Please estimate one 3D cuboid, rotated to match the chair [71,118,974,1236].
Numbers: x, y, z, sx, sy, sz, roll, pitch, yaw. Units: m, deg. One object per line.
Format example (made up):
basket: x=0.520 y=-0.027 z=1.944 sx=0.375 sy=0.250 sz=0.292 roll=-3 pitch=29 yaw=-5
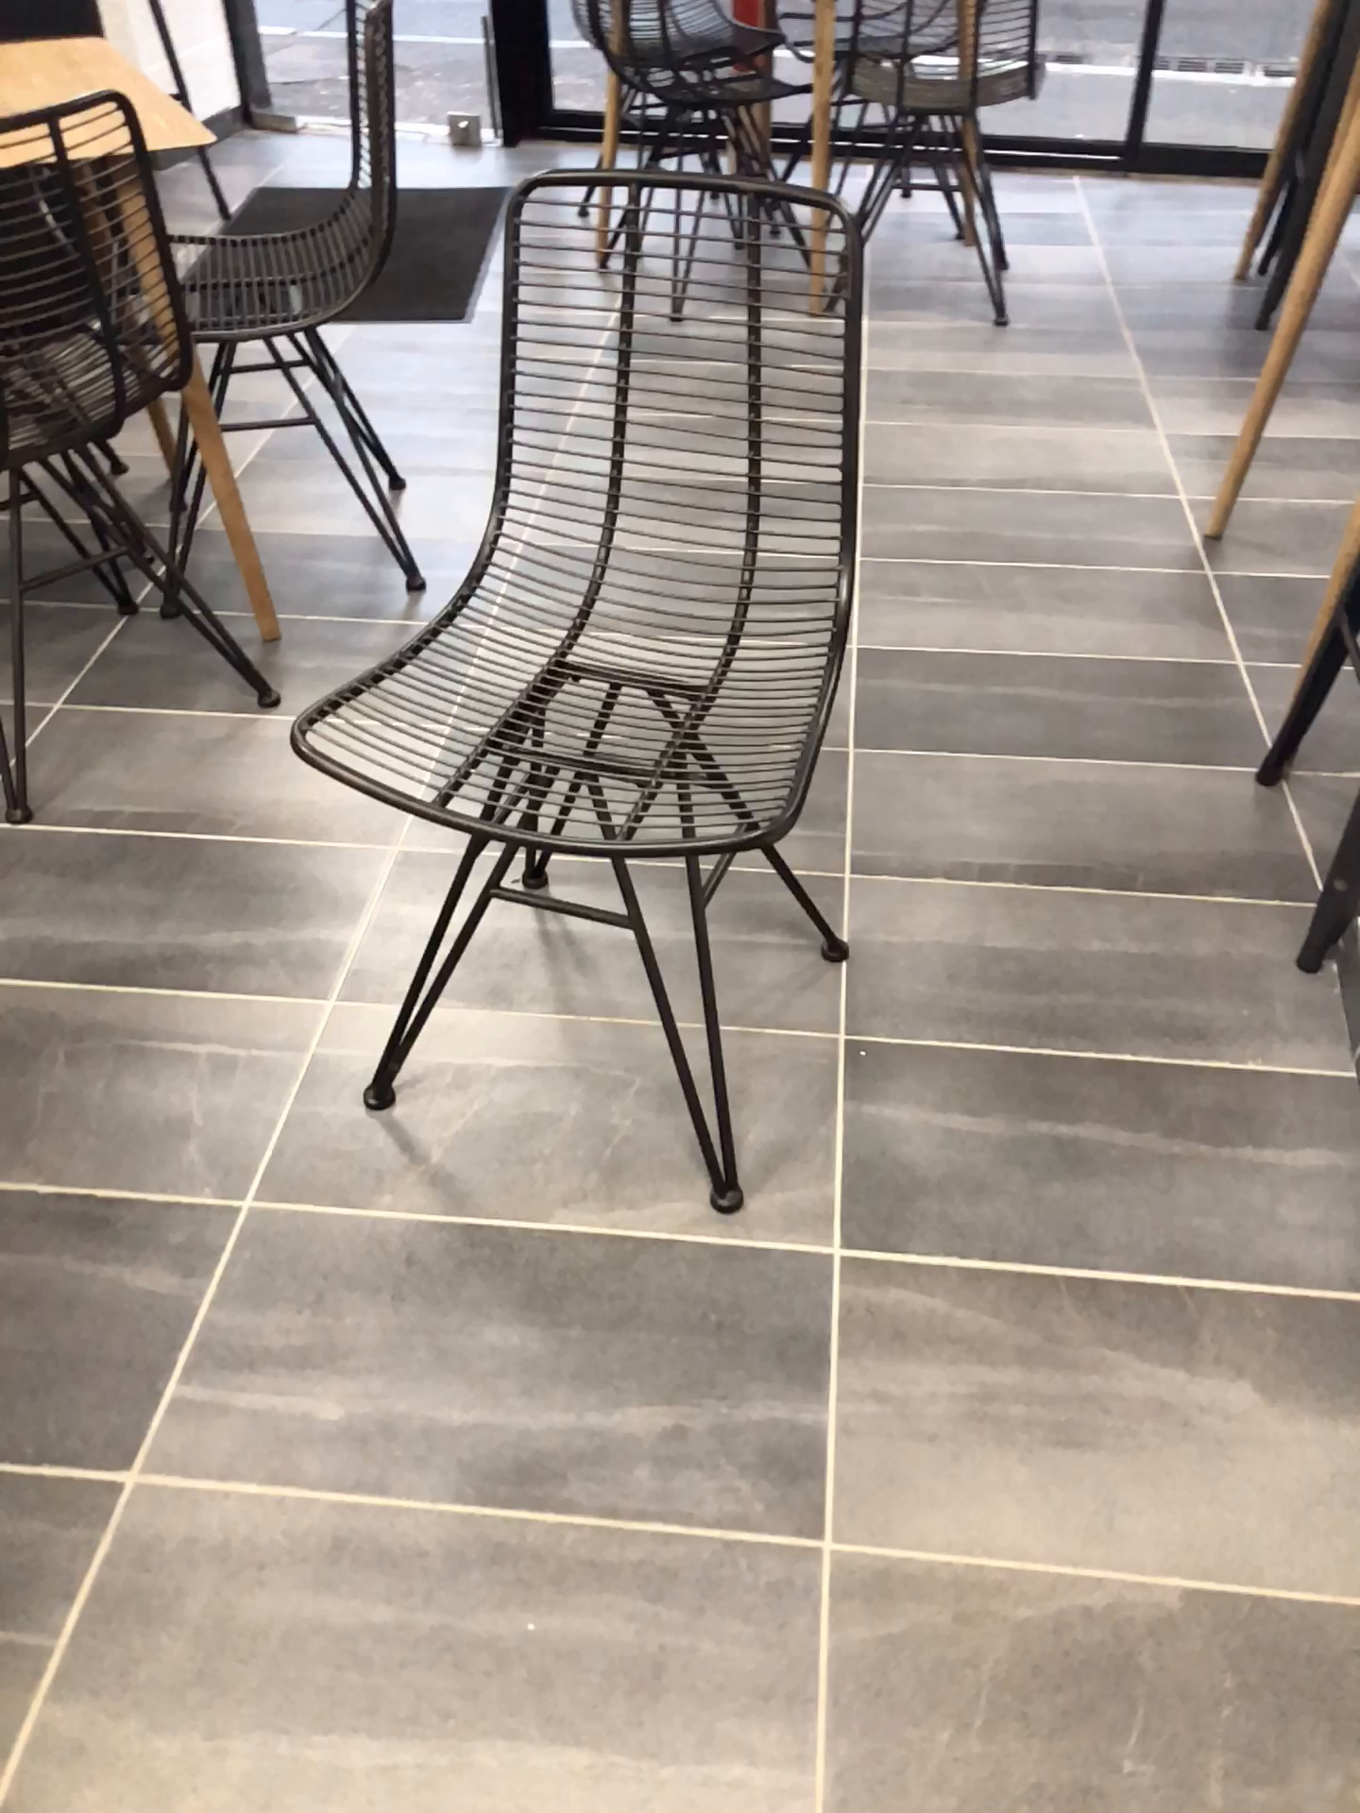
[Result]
chair: x=-0.077 y=-0.212 z=1.359 sx=0.500 sy=0.785 sz=0.524 roll=13 pitch=42 yaw=16
